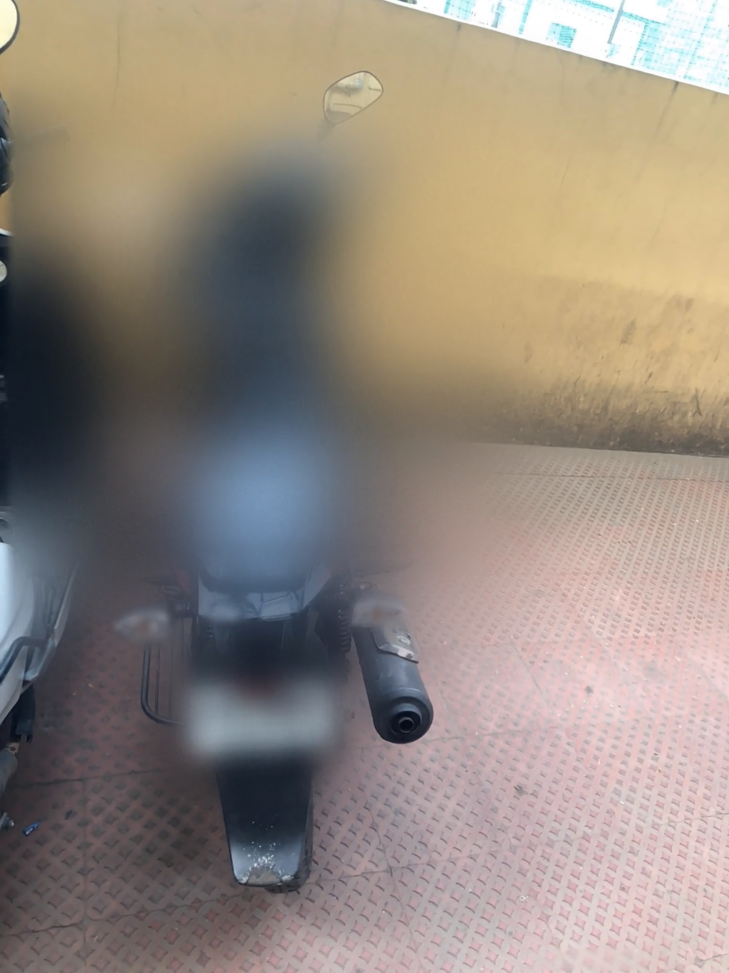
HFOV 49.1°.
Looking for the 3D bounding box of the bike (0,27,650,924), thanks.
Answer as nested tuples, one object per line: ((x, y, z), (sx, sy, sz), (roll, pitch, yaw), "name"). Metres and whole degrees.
((-0.365, -0.165, 1.747), (0.827, 1.057, 1.612), (4, 36, -19), "bike")
